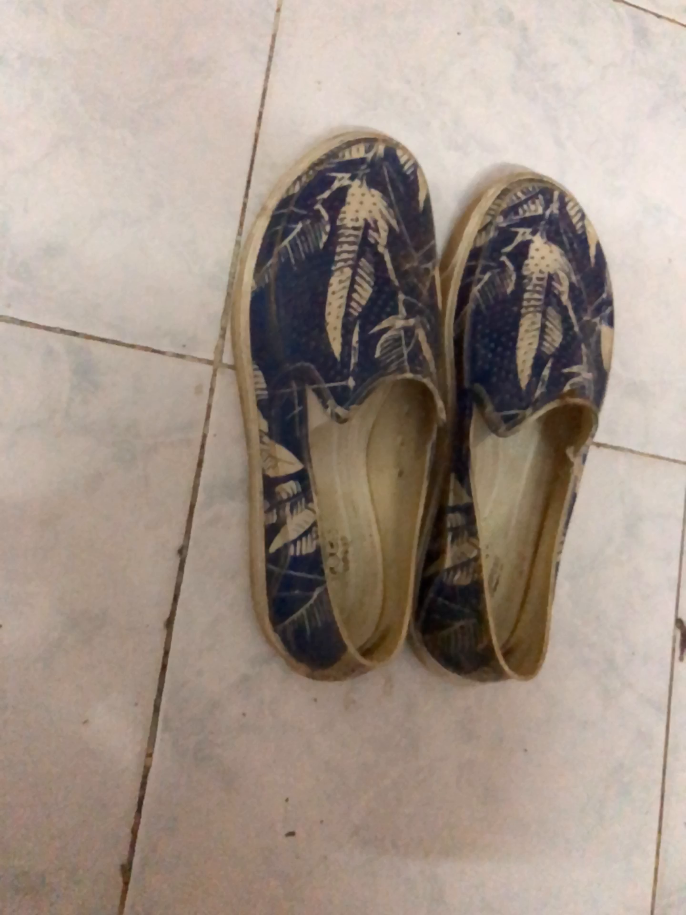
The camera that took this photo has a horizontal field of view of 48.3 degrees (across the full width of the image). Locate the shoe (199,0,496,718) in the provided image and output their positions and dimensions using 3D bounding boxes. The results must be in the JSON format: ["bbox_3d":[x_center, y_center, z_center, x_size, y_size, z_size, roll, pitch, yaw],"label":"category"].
[{"bbox_3d":[0.000,-0.044,0.375,0.110,0.100,0.310,4,82,-16],"label":"shoe"}]

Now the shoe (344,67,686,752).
[{"bbox_3d":[0.092,-0.024,0.397,0.110,0.100,0.300,13,80,-6],"label":"shoe"}]
